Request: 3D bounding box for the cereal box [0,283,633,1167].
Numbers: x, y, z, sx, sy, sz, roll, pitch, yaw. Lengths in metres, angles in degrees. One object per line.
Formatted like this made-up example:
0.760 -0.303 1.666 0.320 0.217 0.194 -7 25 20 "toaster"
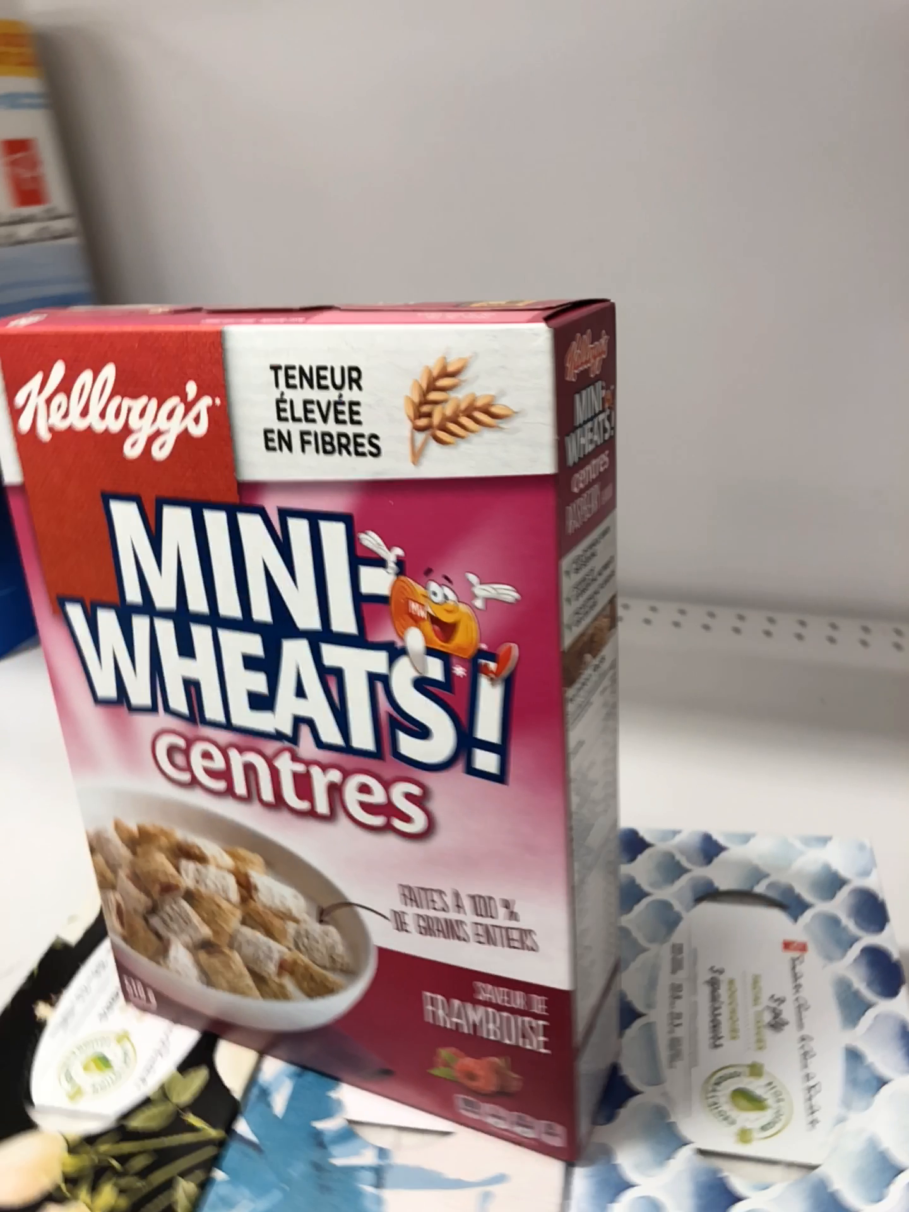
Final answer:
-0.049 0.035 0.346 0.210 0.269 0.050 7 23 25 "cereal box"
